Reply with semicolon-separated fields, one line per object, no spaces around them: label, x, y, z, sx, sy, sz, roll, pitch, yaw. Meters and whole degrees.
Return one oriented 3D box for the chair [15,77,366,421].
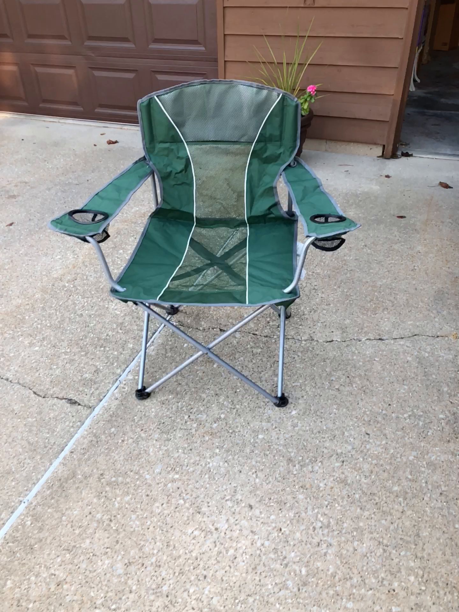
chair;-0.057;-0.209;1.674;0.820;0.907;0.642;3;34;6
